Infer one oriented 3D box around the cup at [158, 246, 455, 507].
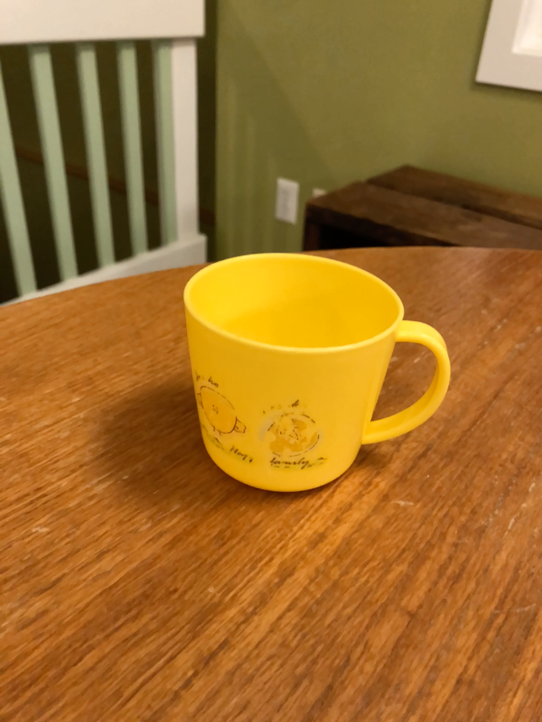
[{"bbox_3d":[0.014,0.002,0.249,0.097,0.064,0.081,6,32,3],"label":"cup"}]
